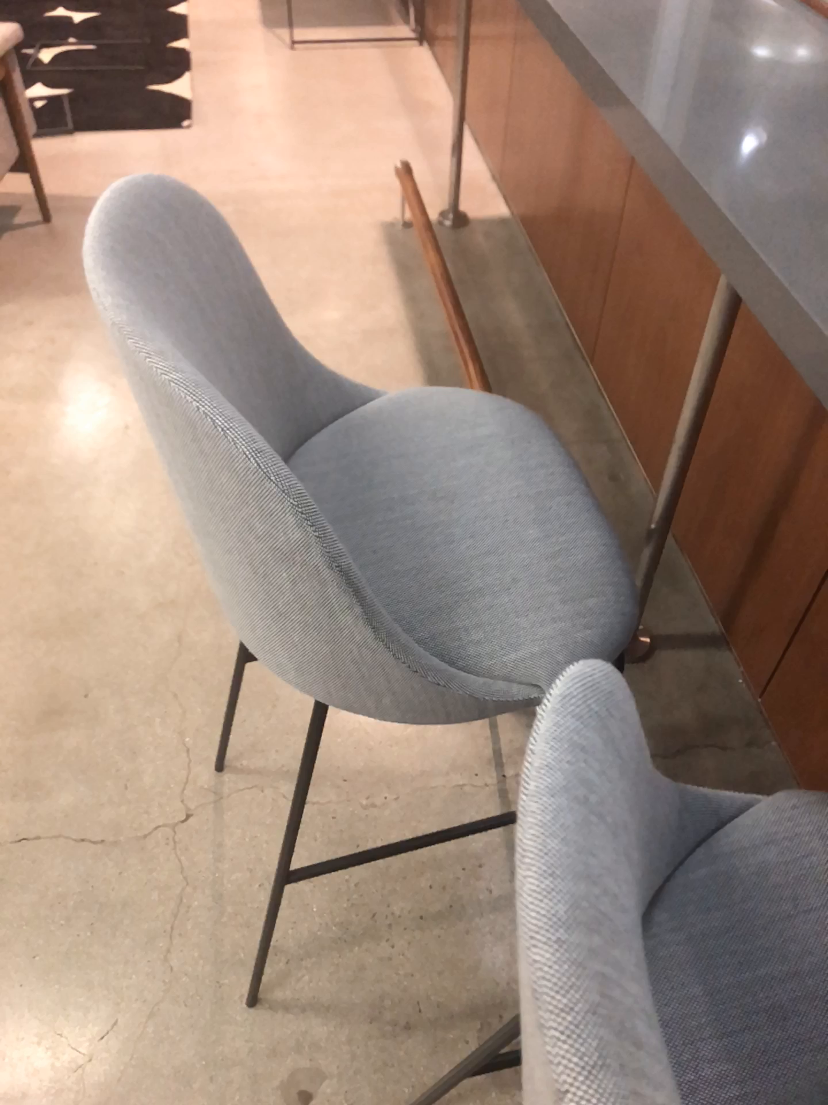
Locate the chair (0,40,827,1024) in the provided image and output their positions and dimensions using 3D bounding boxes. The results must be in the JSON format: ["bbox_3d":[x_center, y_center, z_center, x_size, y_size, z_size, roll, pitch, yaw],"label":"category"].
[{"bbox_3d":[-0.011,0.066,1.133,0.631,1.091,0.513,-9,48,-10],"label":"chair"}]
